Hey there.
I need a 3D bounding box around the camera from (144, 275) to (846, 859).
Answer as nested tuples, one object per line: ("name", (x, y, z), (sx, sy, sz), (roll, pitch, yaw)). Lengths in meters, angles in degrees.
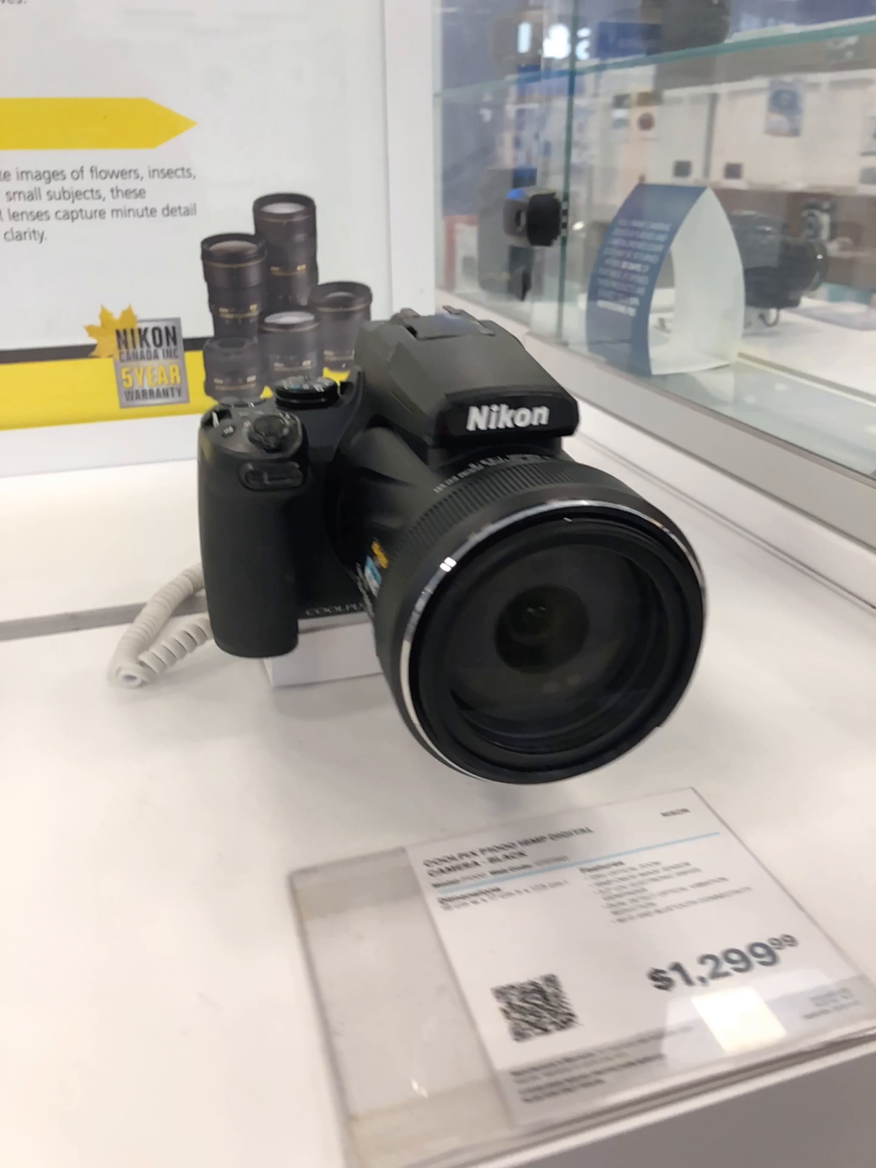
("camera", (-0.004, -0.030, 0.321), (0.160, 0.110, 0.191), (-8, 25, -15))
